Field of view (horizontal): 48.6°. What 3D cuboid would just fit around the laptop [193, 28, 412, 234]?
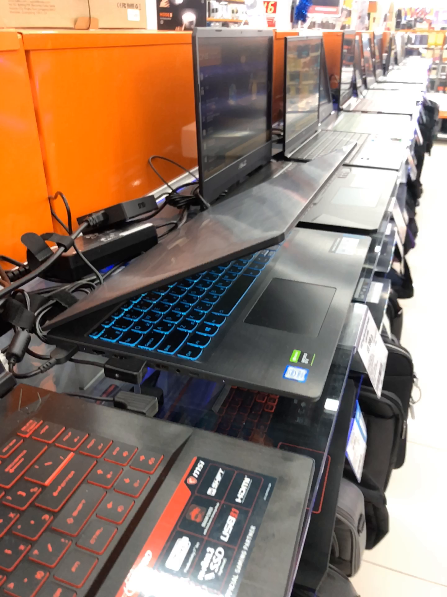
[{"bbox_3d":[0.150,-0.310,0.843,0.277,0.251,0.385,10,28,19],"label":"laptop"}]

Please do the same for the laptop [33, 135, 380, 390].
[{"bbox_3d":[0.020,-0.079,0.534,0.240,0.118,0.349,10,29,18],"label":"laptop"}]

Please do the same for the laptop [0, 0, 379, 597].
[{"bbox_3d":[-0.150,0.044,0.144,0.325,0.228,0.350,9,26,17],"label":"laptop"}]
